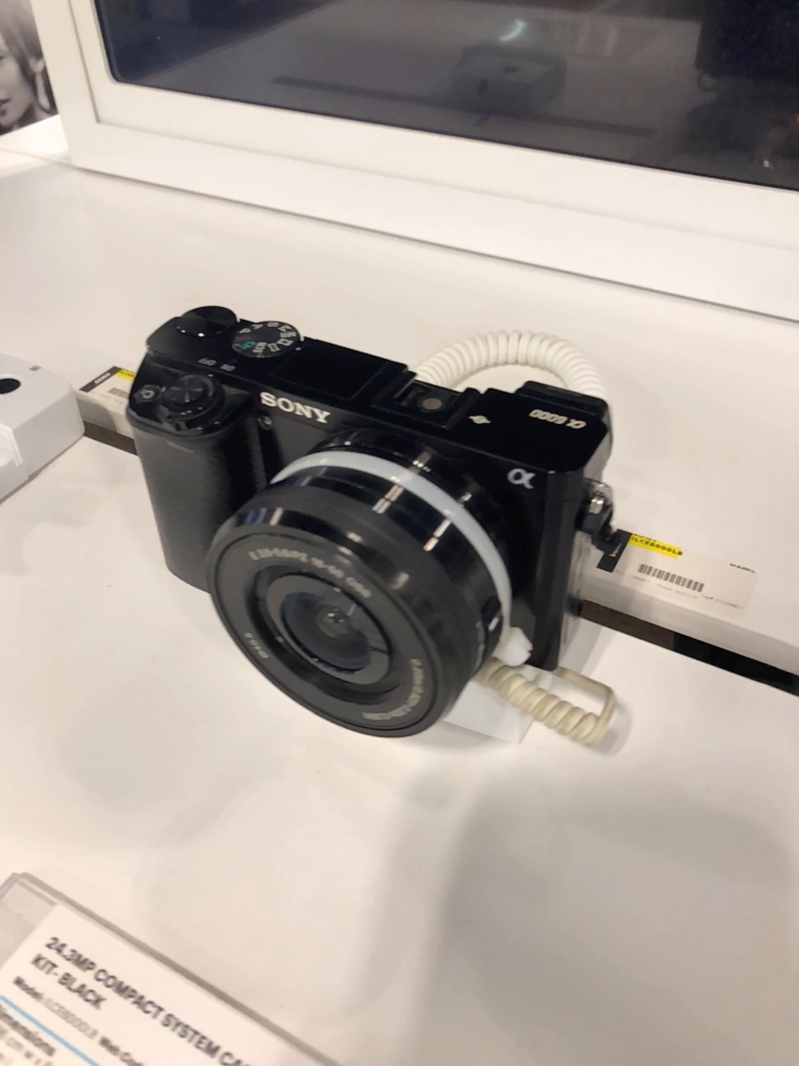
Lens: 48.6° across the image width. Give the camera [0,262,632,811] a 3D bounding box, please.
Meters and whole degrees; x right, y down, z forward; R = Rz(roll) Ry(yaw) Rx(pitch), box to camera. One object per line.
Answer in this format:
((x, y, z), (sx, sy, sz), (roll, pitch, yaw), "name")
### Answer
((-0.019, -0.006, 0.210), (0.120, 0.070, 0.070), (19, 46, 22), "camera")
